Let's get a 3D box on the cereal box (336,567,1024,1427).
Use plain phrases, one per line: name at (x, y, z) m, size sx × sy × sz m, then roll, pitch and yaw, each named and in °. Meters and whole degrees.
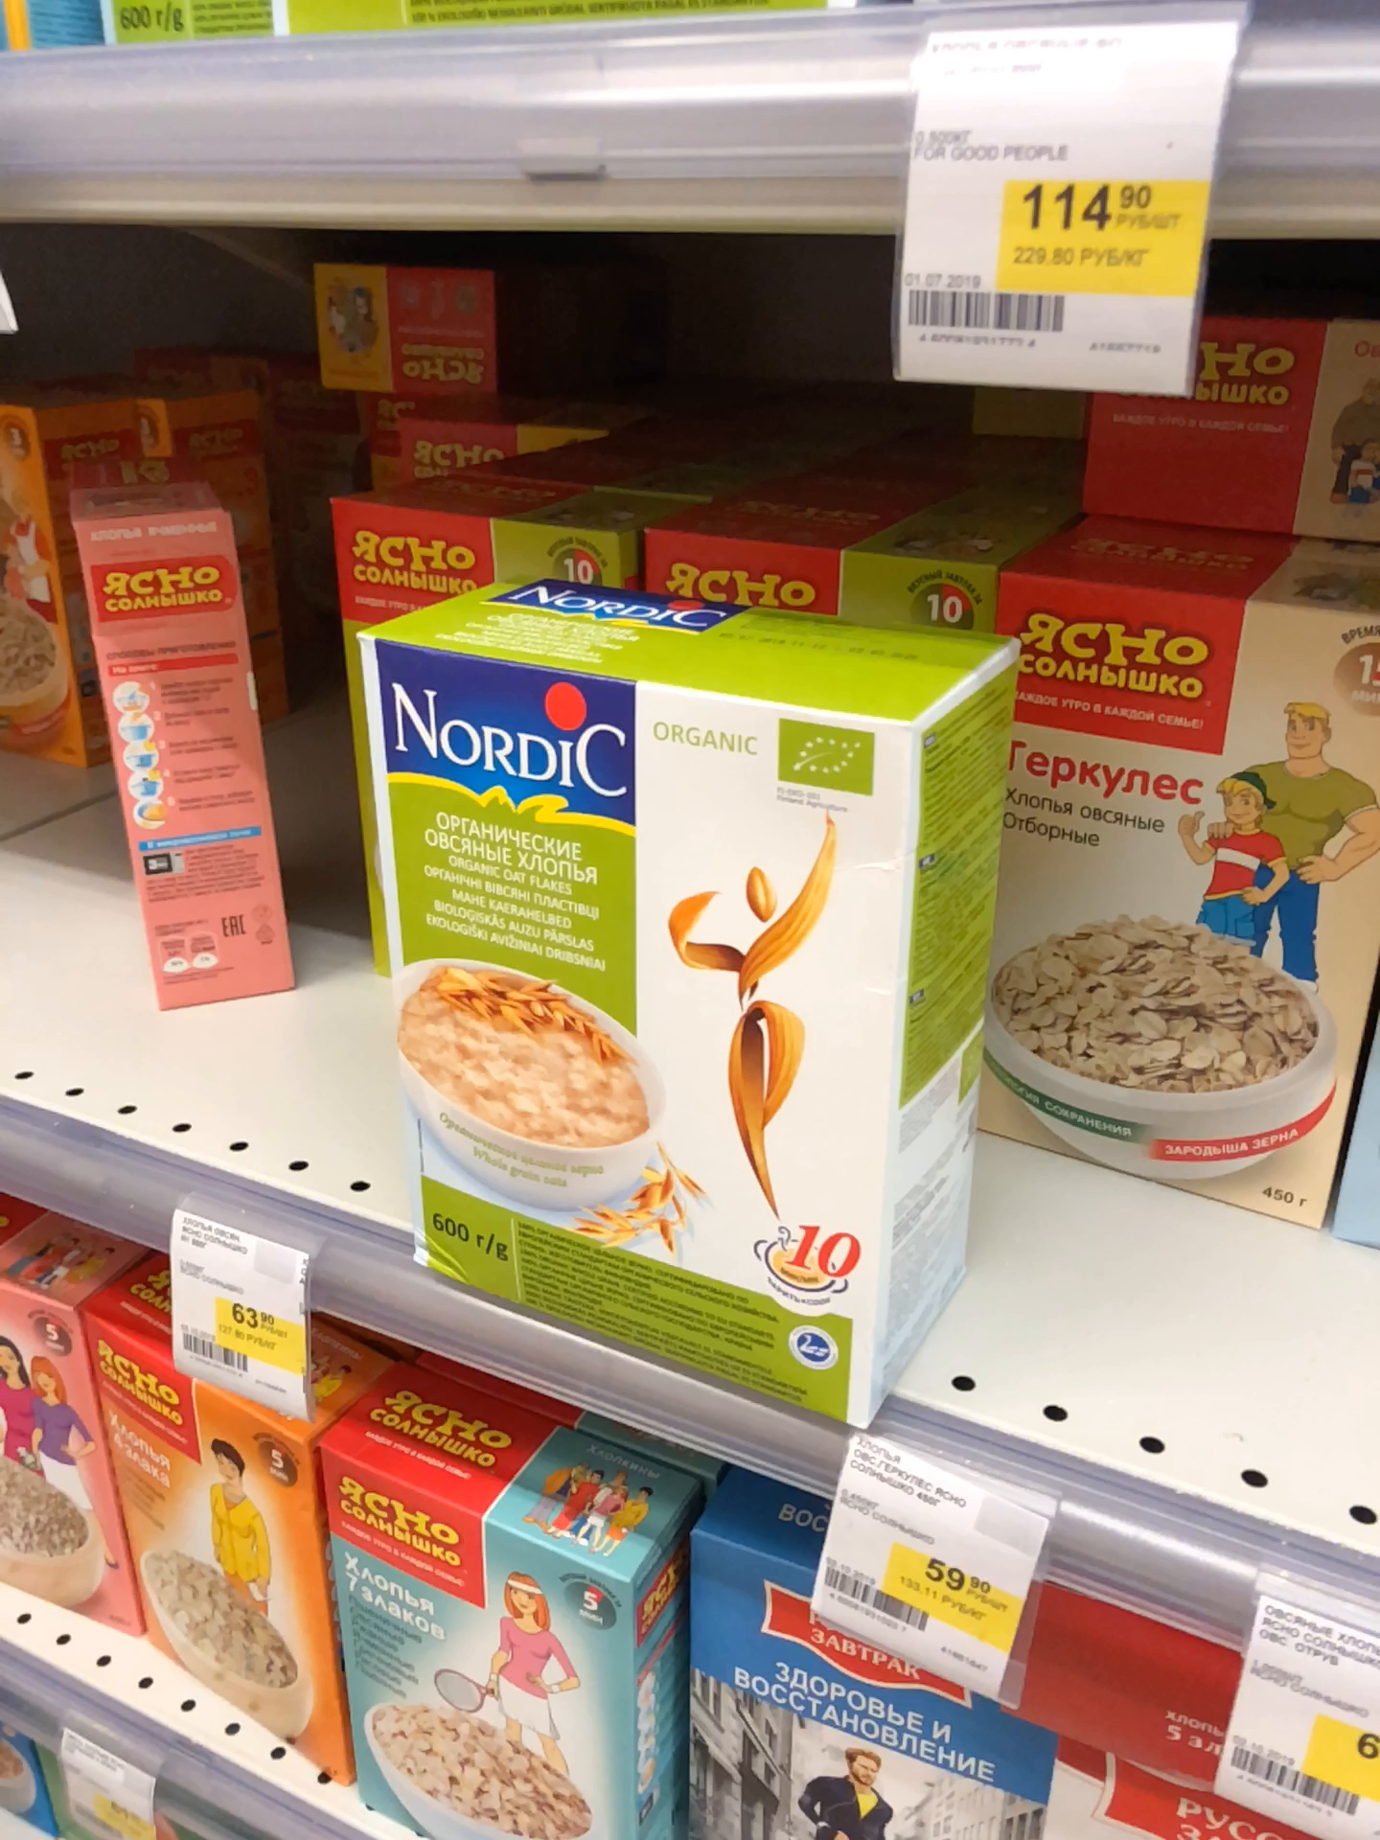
cereal box at (-0.003, 0.014, 0.415) m, size 0.150 × 0.189 × 0.080 m, roll 13°, pitch 27°, yaw 25°
